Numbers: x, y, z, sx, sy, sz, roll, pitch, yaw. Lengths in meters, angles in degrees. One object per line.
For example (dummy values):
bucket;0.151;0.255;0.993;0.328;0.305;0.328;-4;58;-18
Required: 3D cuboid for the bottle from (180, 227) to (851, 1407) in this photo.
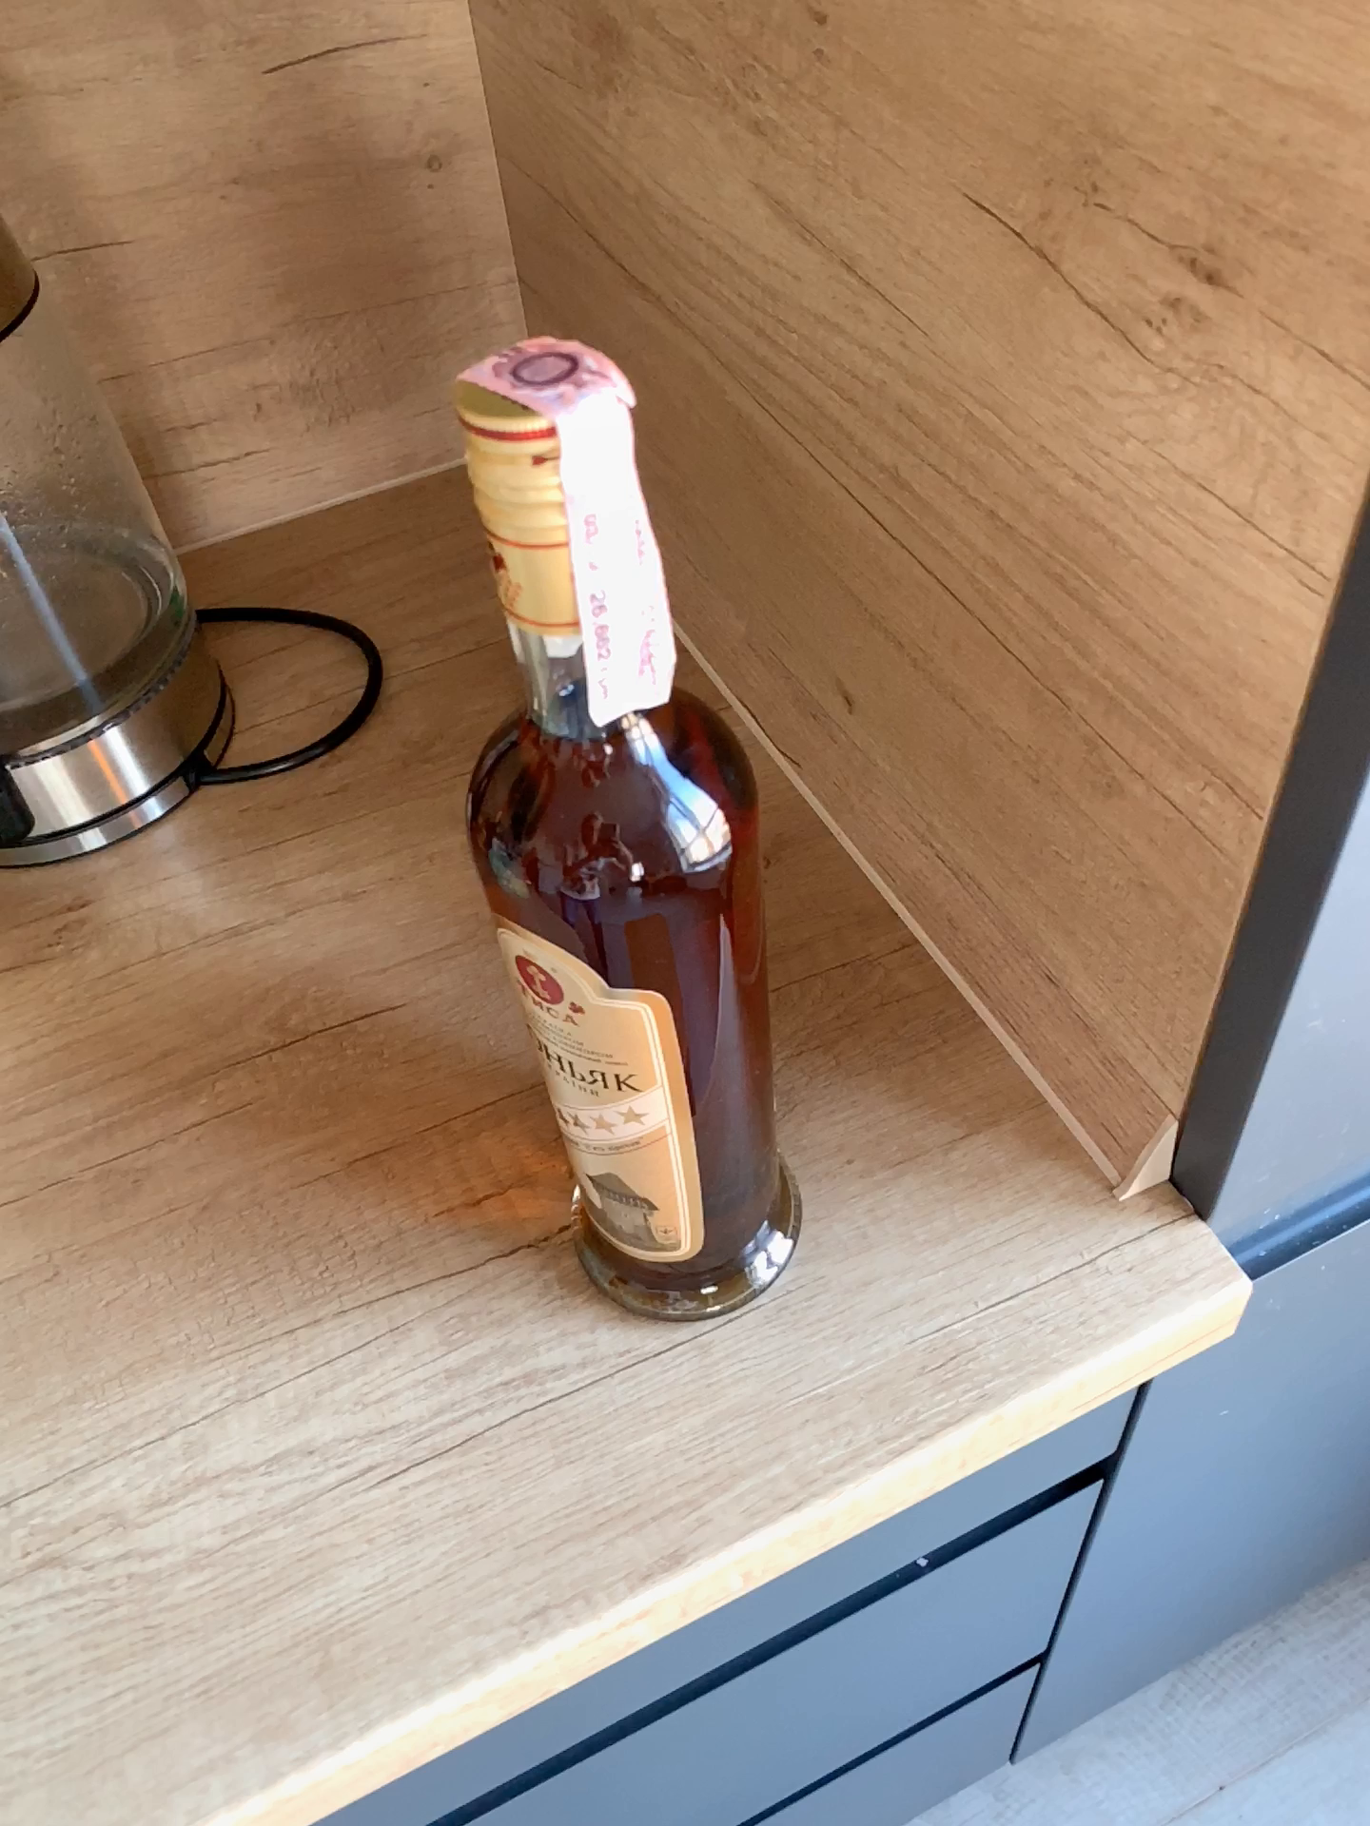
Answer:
bottle;-0.015;0.006;0.324;0.080;0.279;0.070;28;57;28
